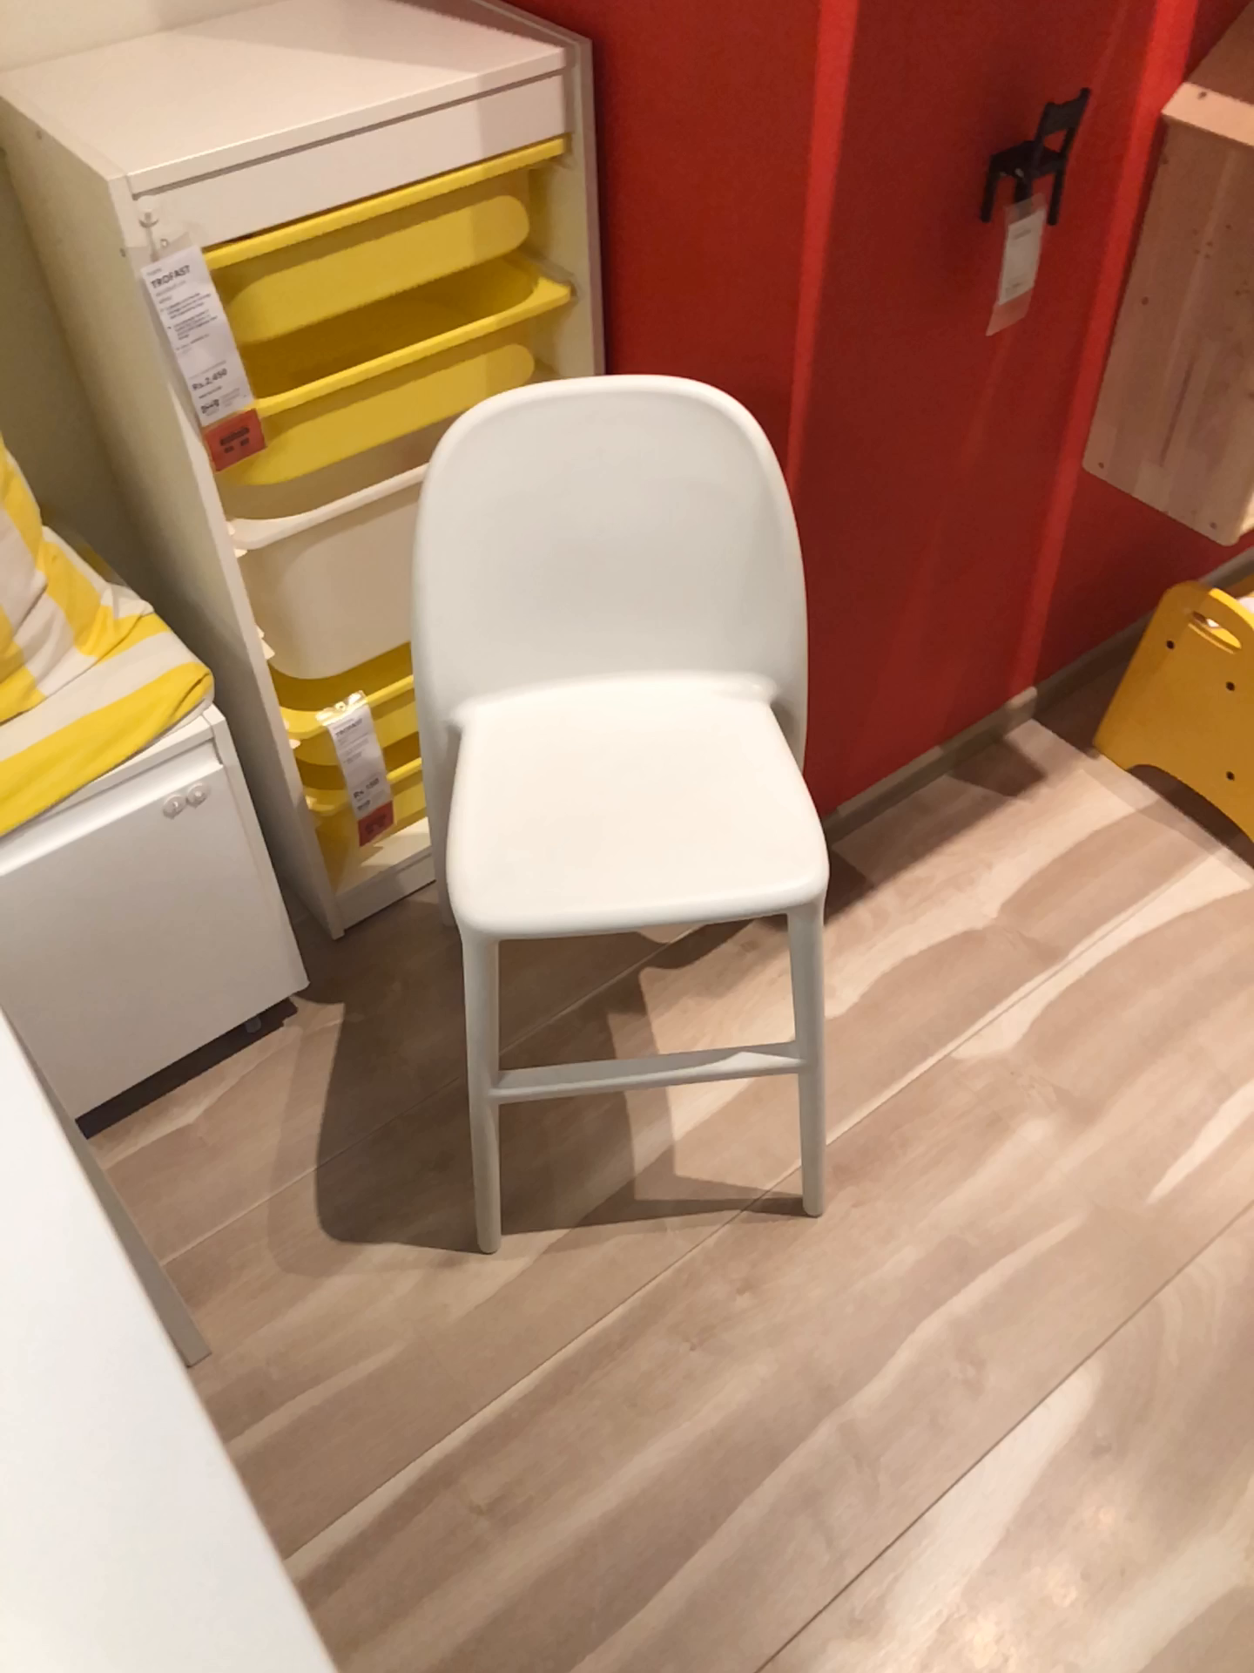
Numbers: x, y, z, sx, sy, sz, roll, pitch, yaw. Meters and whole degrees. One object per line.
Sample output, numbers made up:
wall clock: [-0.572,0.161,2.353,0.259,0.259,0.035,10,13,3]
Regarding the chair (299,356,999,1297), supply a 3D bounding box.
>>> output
chair: [-0.006,0.028,1.237,0.420,0.706,0.463,-6,50,-4]
